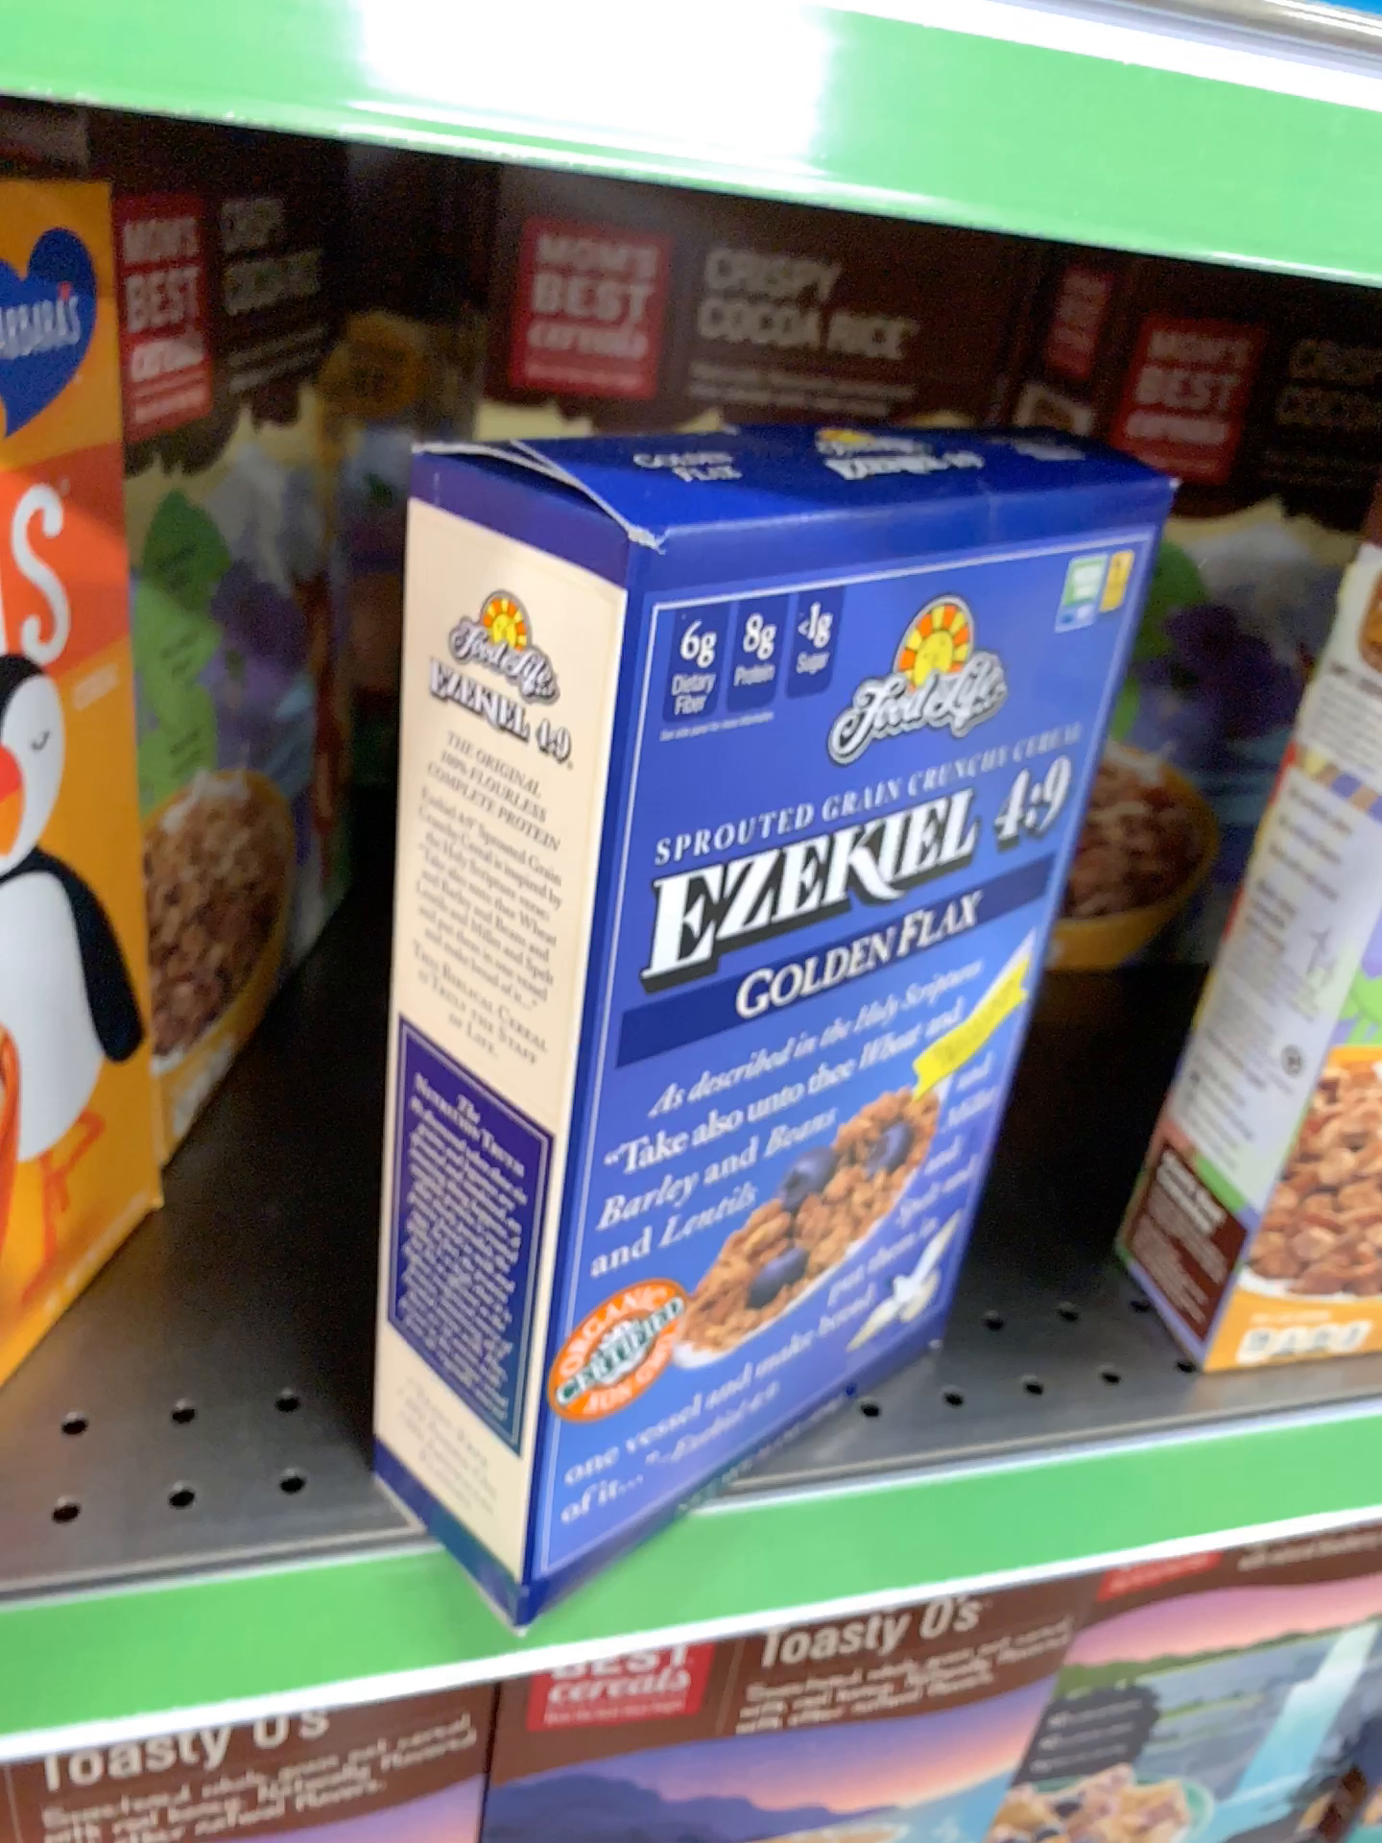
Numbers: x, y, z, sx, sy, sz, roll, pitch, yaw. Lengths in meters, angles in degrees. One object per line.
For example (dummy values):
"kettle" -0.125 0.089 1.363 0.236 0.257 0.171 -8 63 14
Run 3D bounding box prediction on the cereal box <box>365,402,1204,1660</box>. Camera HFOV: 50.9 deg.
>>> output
"cereal box" 0.014 0.020 0.329 0.160 0.249 0.060 -18 37 -40
